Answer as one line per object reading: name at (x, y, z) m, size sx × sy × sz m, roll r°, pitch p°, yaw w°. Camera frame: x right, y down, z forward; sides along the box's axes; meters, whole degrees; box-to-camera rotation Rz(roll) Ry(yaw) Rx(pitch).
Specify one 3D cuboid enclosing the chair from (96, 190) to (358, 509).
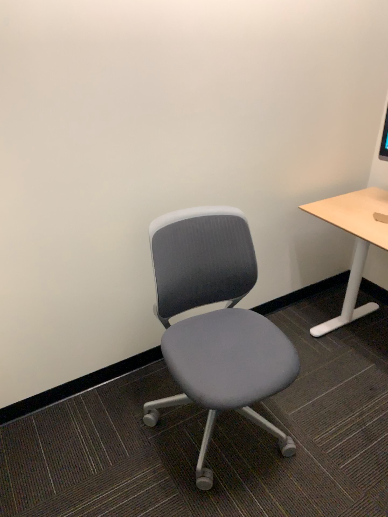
chair at (0.050, 0.307, 1.804) m, size 0.720 × 0.885 × 0.905 m, roll -11°, pitch 31°, yaw -19°
